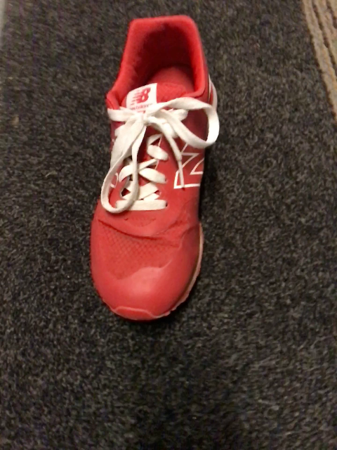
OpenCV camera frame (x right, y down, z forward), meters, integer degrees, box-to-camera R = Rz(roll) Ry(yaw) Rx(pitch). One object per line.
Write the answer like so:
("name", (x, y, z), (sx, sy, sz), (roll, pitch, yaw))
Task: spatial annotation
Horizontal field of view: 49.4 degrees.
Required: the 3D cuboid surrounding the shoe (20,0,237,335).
("shoe", (-0.012, -0.054, 0.303), (0.100, 0.108, 0.257), (7, 70, 8))
